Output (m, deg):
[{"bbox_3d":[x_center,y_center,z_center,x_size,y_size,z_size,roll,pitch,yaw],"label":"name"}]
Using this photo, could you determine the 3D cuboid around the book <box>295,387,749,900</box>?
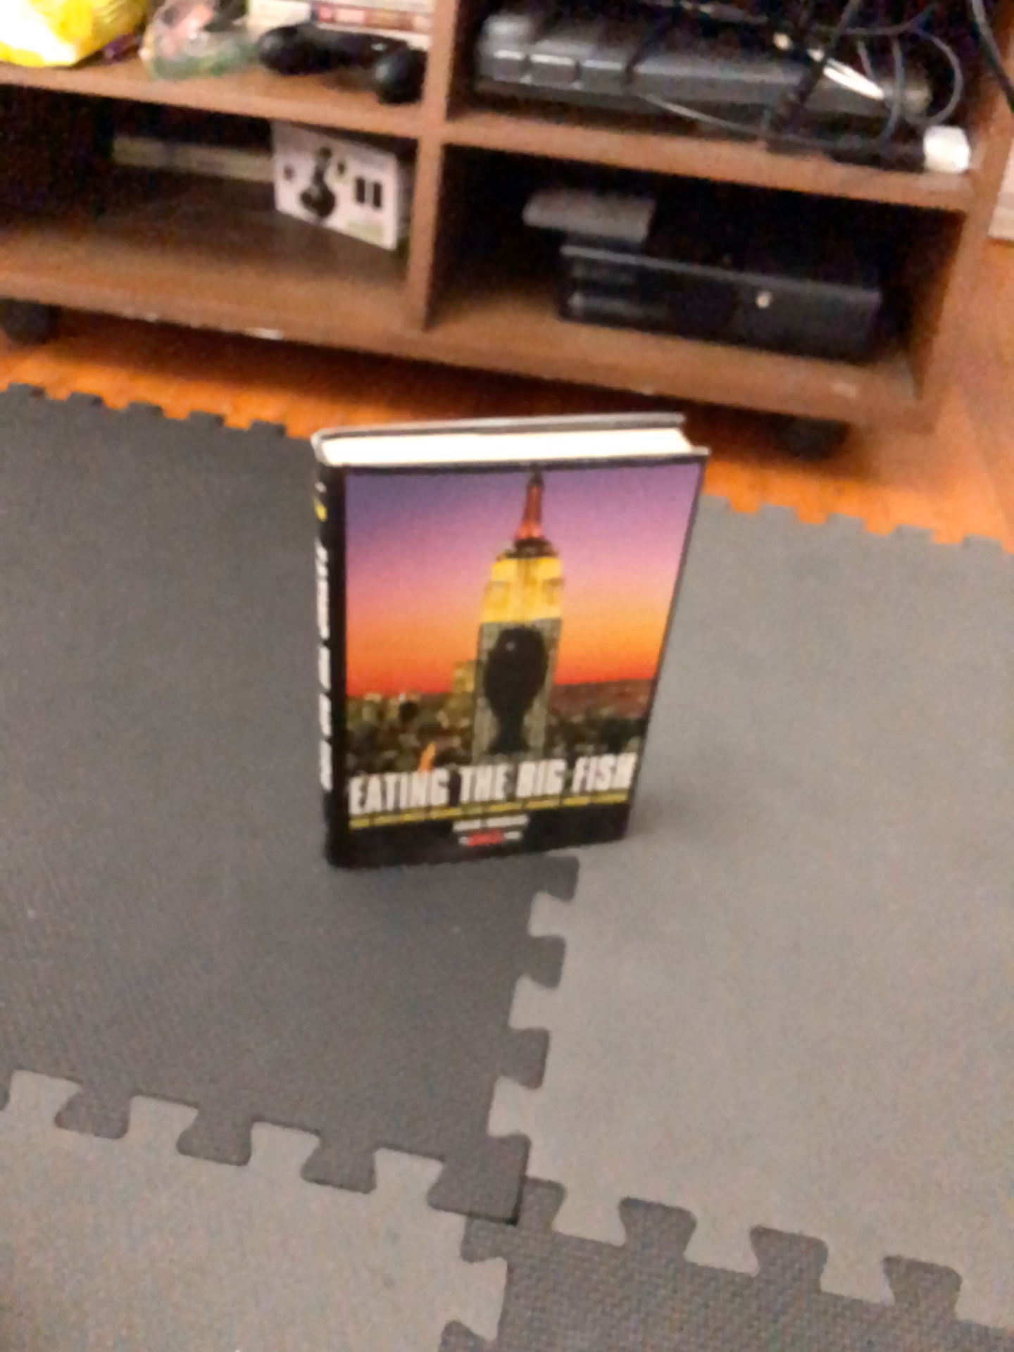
[{"bbox_3d":[-0.003,-0.006,0.550,0.180,0.258,0.050,-6,42,-14],"label":"book"}]
